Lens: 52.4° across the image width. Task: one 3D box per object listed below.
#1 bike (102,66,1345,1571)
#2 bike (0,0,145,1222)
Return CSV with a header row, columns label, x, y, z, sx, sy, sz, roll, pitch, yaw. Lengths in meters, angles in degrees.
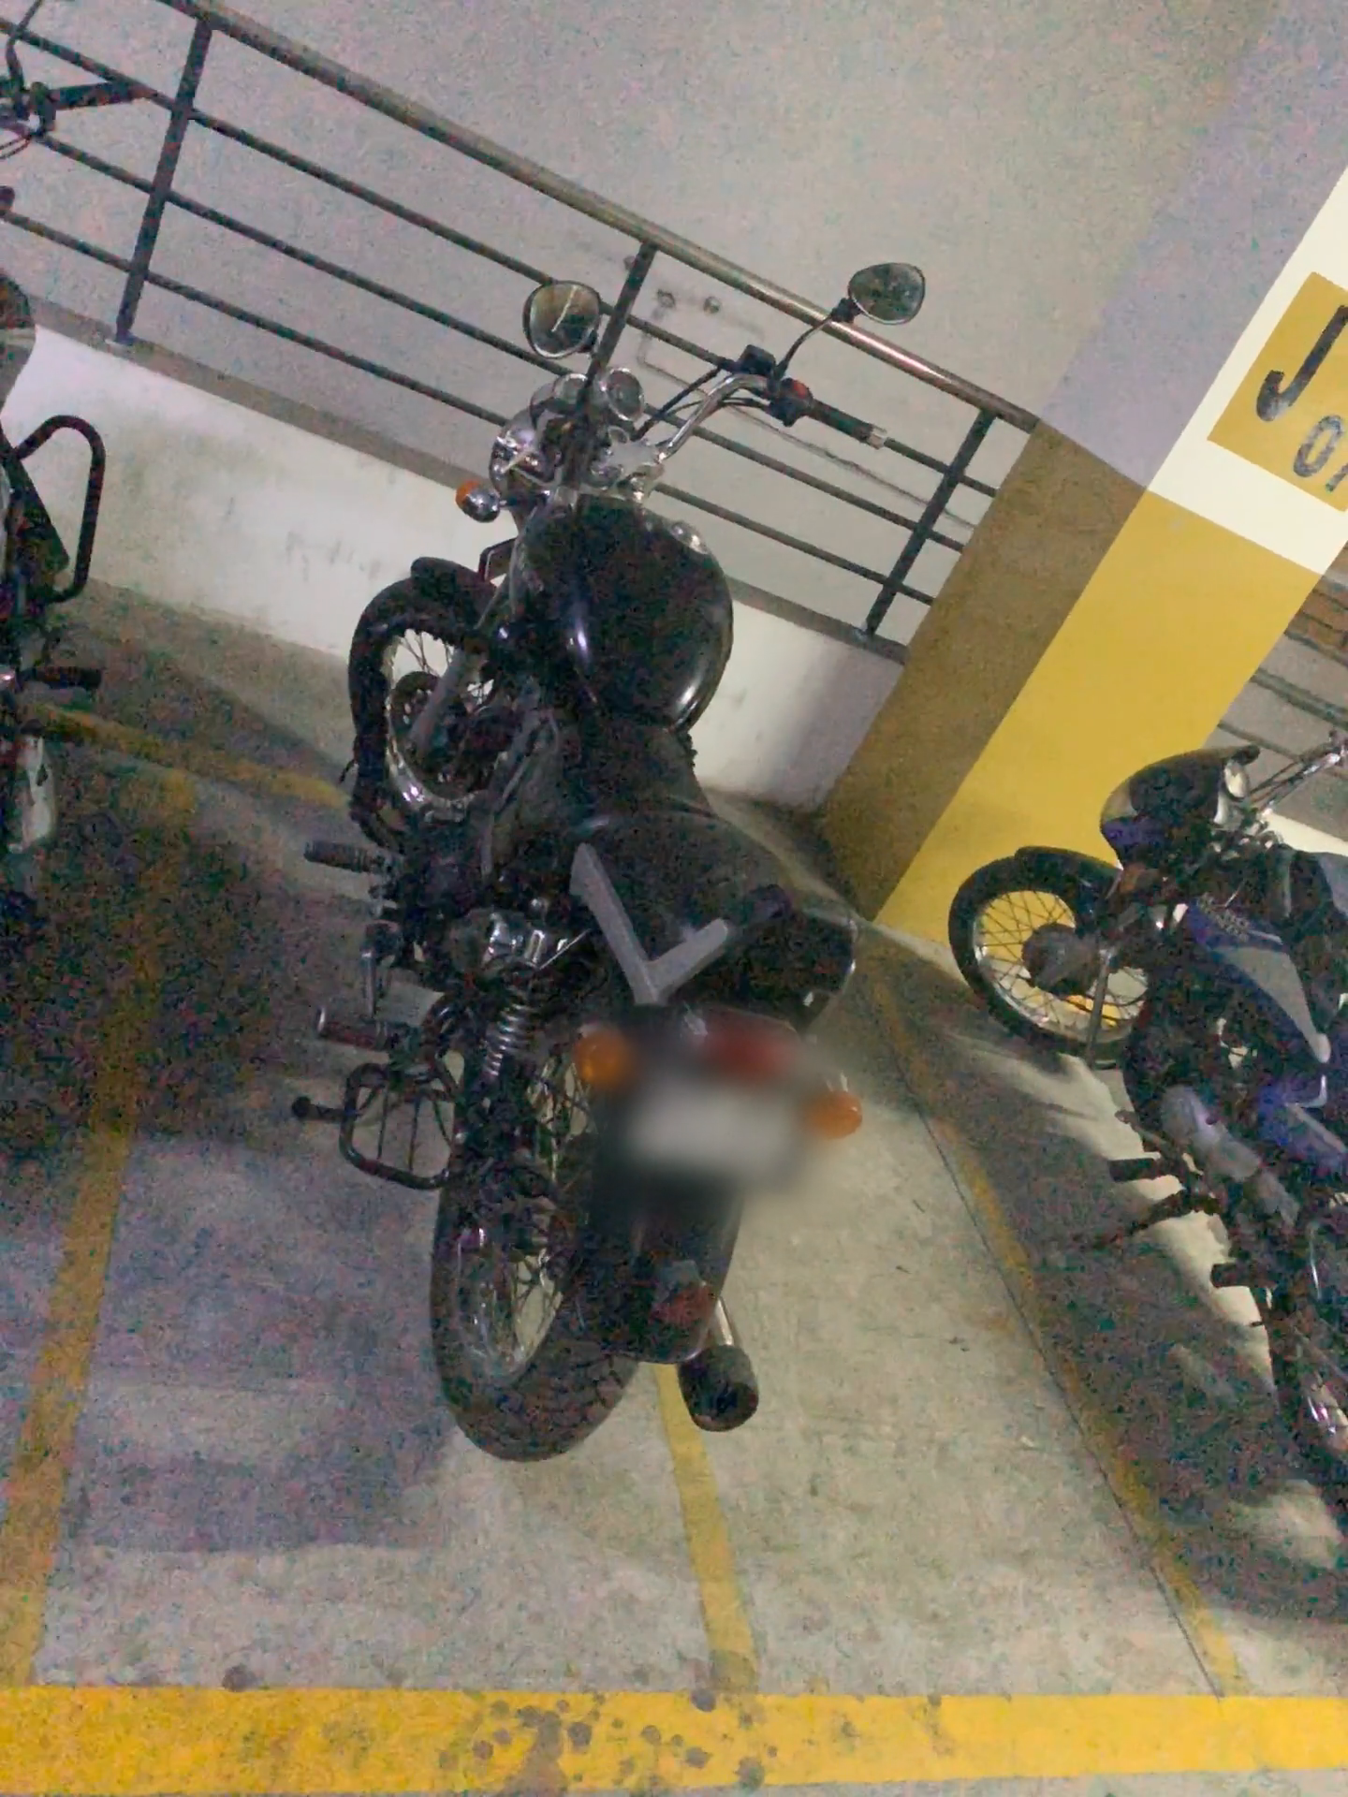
label,x,y,z,sx,sy,sz,roll,pitch,yaw
bike,-0.259,-0.237,2.079,0.853,1.232,1.803,13,31,-29
bike,-1.334,-0.726,1.957,0.720,1.276,1.569,15,33,-26
